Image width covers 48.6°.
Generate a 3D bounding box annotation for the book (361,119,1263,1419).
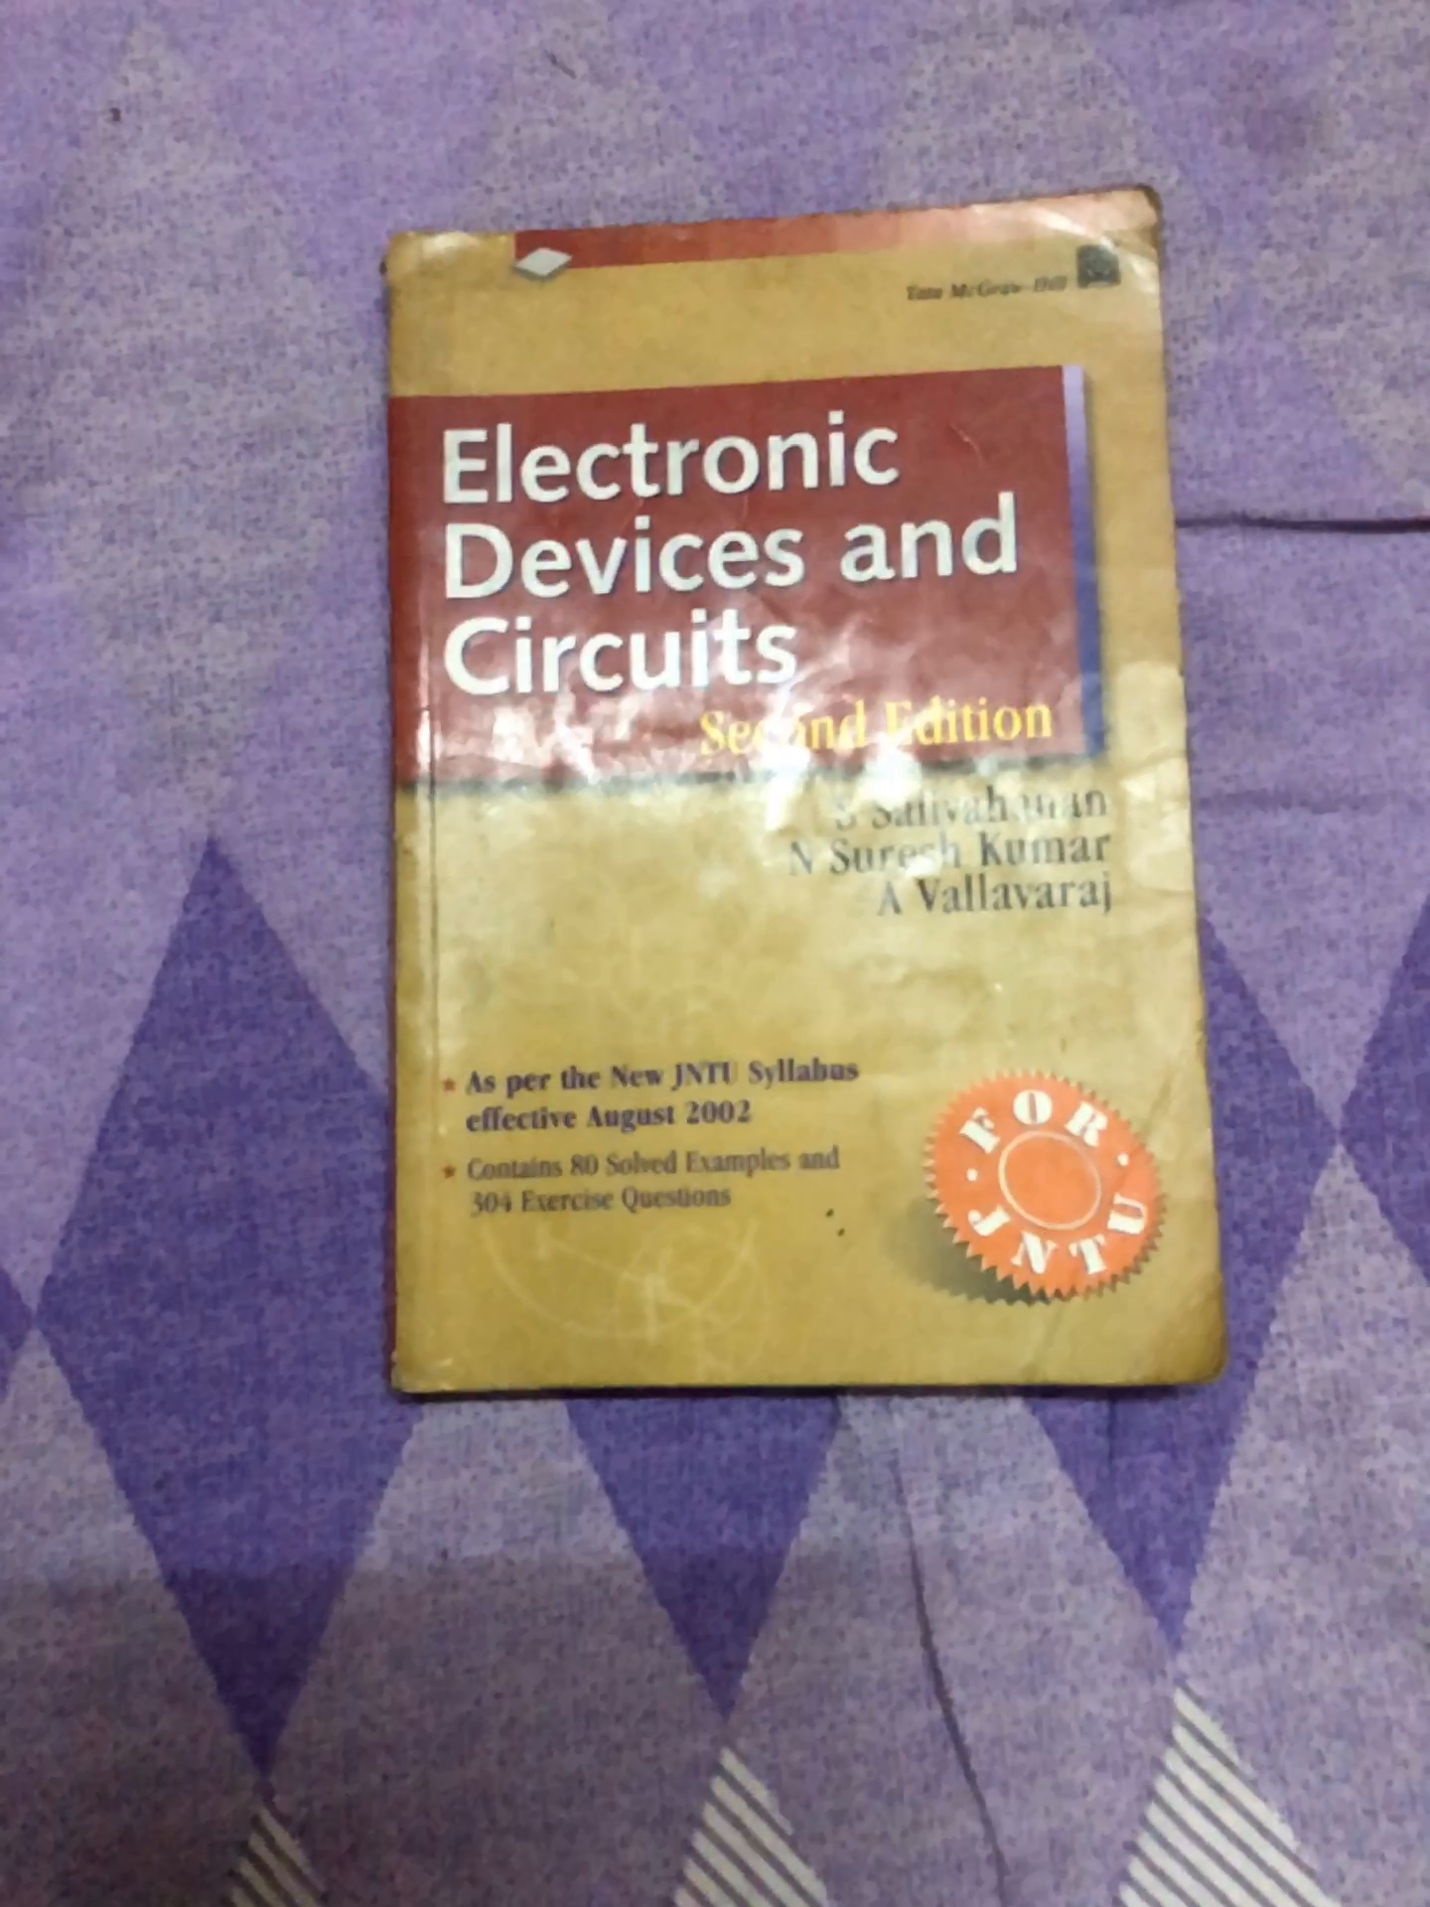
[{"bbox_3d":[0.015,-0.035,0.317,0.160,0.040,0.240,-2,85,4],"label":"book"}]
